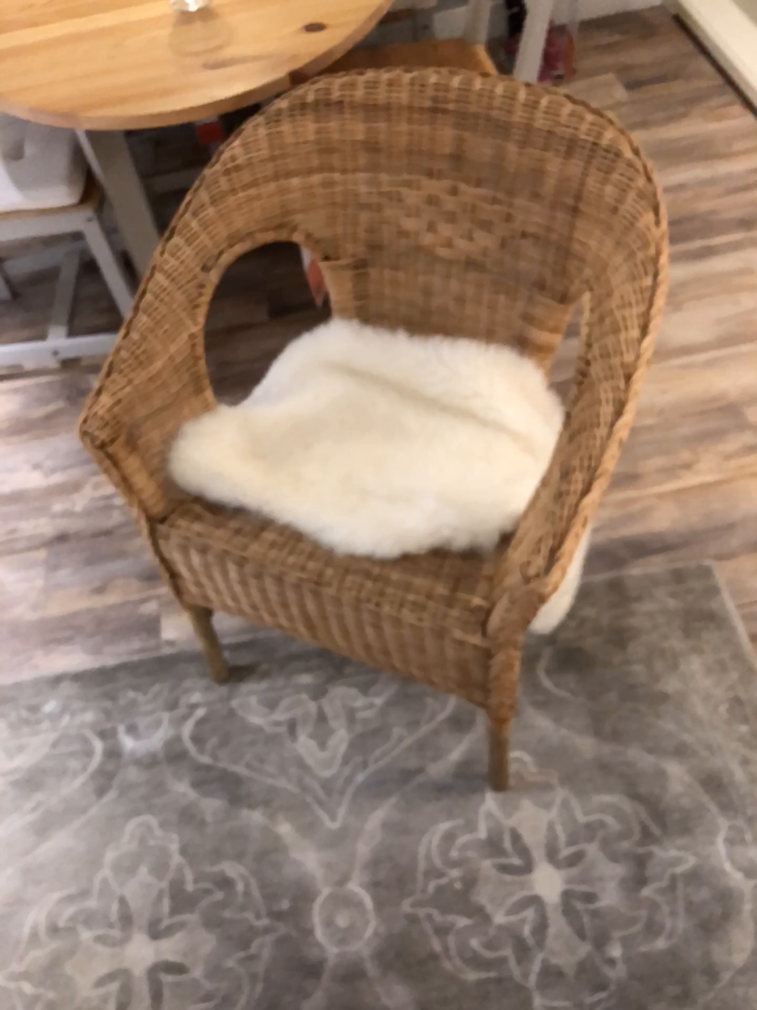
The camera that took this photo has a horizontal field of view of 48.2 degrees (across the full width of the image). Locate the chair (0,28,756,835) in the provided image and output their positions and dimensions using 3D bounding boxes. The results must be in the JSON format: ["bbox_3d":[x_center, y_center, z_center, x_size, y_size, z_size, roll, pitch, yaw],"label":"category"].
[{"bbox_3d":[0.045,-0.084,1.146,0.650,0.718,0.631,18,59,19],"label":"chair"}]
